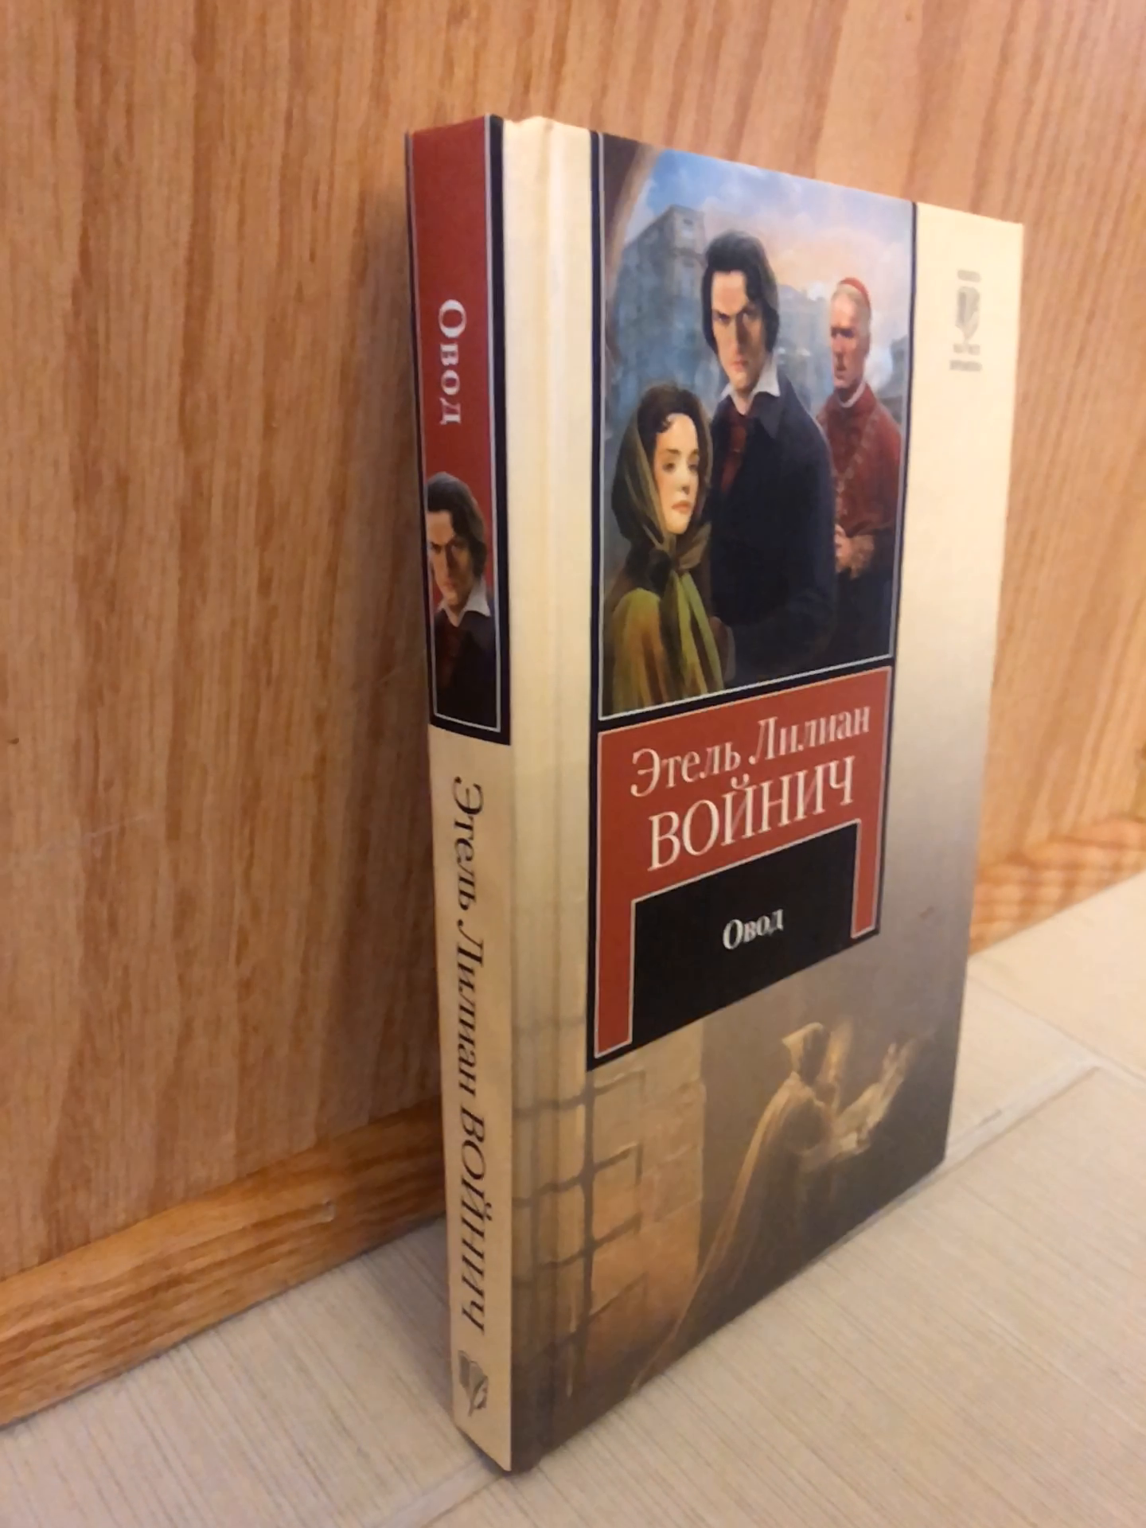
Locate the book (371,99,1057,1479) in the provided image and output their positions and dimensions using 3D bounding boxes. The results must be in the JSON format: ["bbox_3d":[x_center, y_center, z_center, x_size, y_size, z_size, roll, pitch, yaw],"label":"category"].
[{"bbox_3d":[0.033,0.002,0.239,0.140,0.203,0.030,-13,19,-42],"label":"book"}]
